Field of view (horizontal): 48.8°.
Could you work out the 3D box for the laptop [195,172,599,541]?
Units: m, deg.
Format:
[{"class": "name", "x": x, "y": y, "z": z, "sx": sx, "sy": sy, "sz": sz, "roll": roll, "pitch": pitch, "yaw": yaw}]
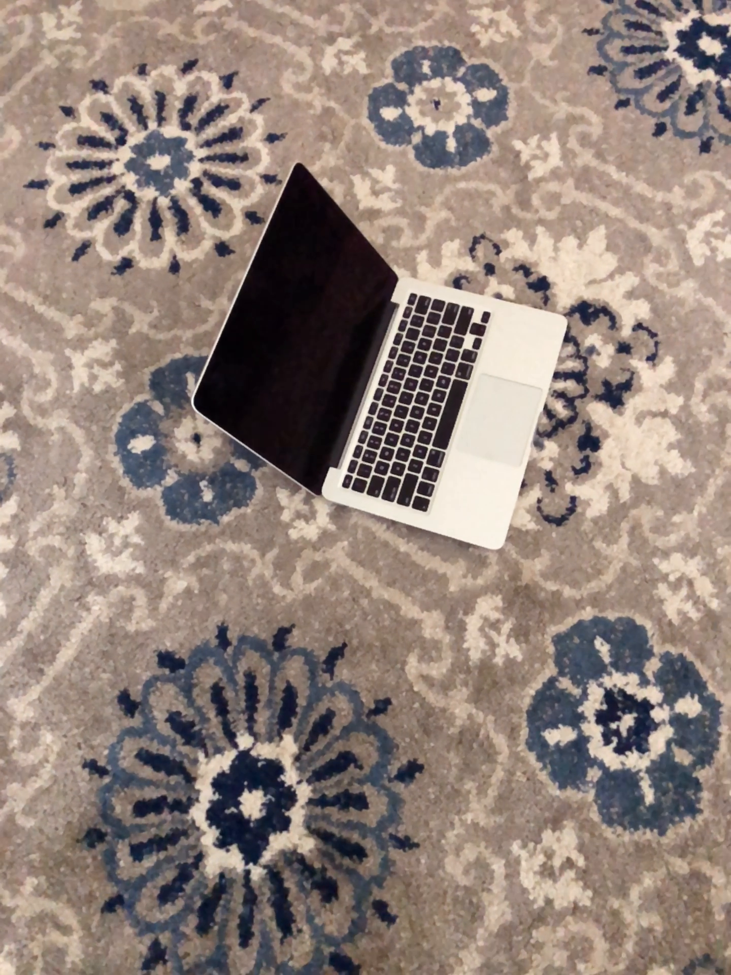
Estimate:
[{"class": "laptop", "x": 0.041, "y": -0.142, "z": 0.878, "sx": 0.322, "sy": 0.171, "sz": 0.300, "roll": 15, "pitch": 71, "yaw": 10}]
